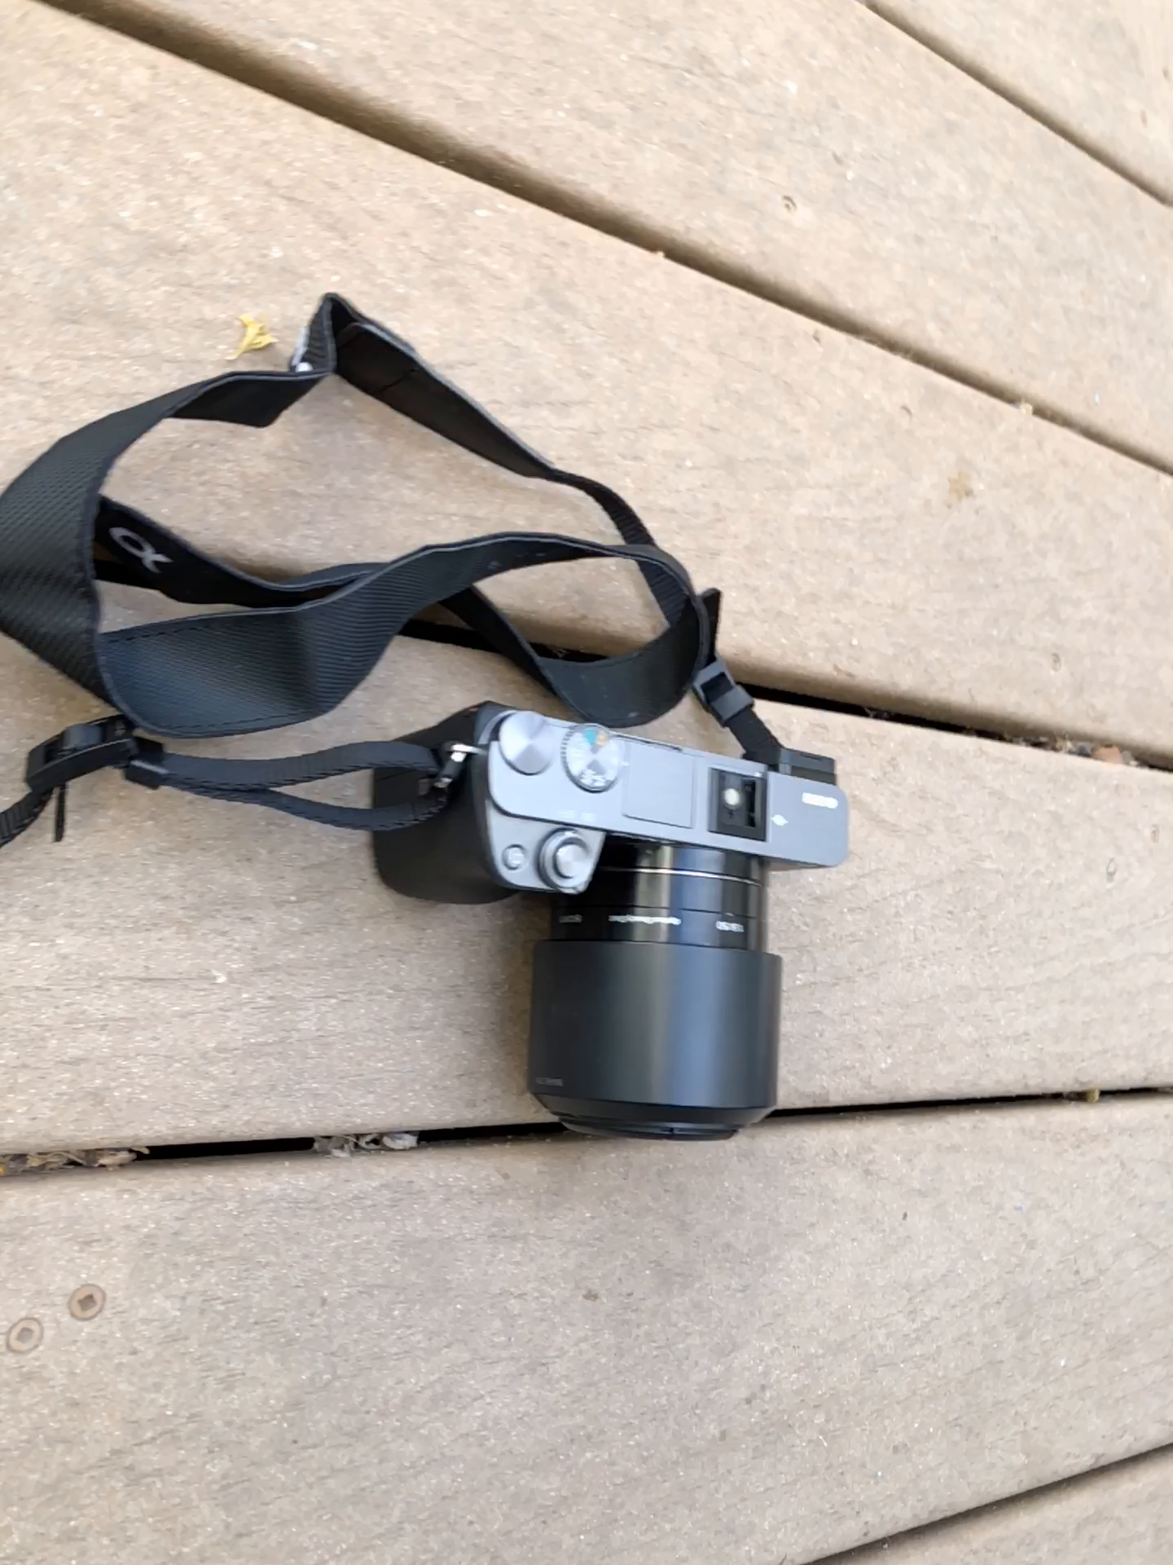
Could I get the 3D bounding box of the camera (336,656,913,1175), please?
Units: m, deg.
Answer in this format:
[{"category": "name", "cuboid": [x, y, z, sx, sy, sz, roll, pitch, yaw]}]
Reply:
[{"category": "camera", "cuboid": [0.014, 0.040, 0.340, 0.131, 0.070, 0.110, 10, 77, -34]}]
